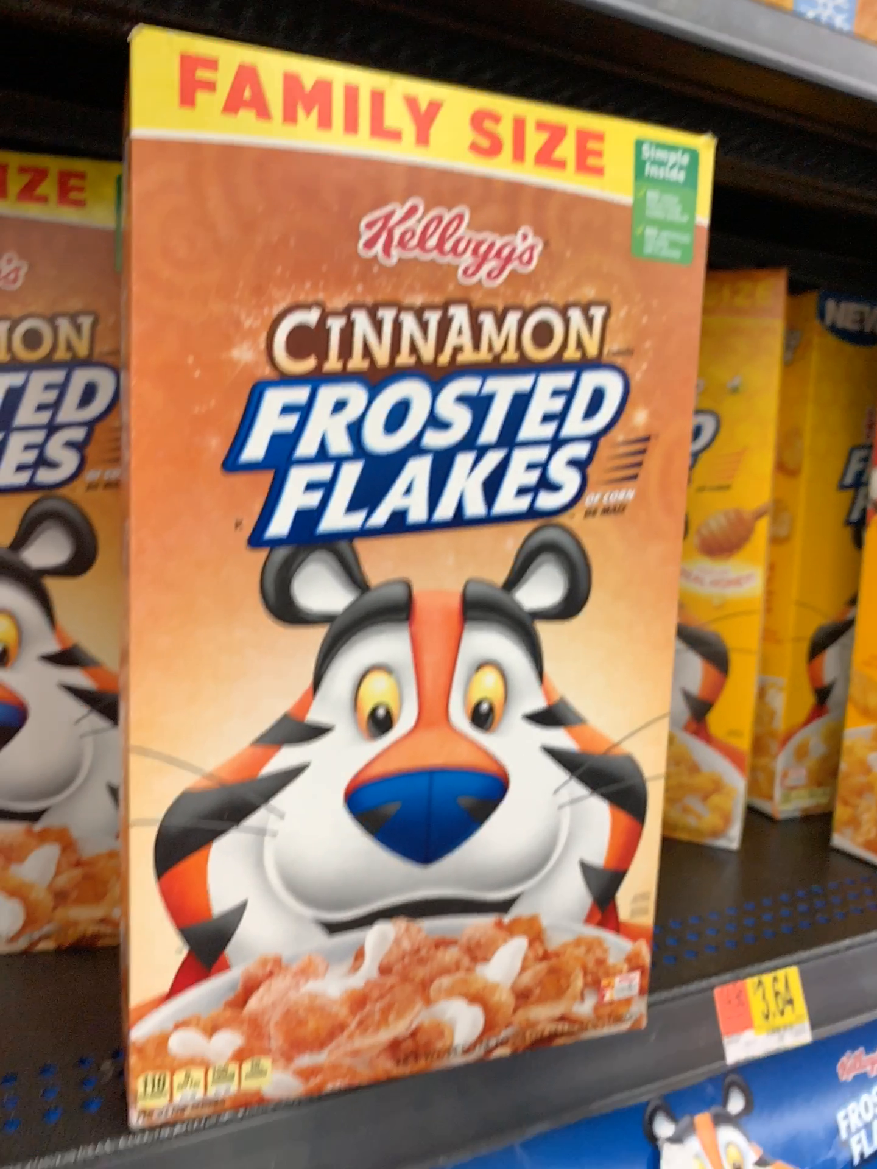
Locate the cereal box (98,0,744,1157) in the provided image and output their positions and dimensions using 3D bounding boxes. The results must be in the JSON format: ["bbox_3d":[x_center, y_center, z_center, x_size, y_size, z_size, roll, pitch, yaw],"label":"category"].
[{"bbox_3d":[-0.011,0.006,0.338,0.210,0.339,0.070,0,7,-21],"label":"cereal box"}]
